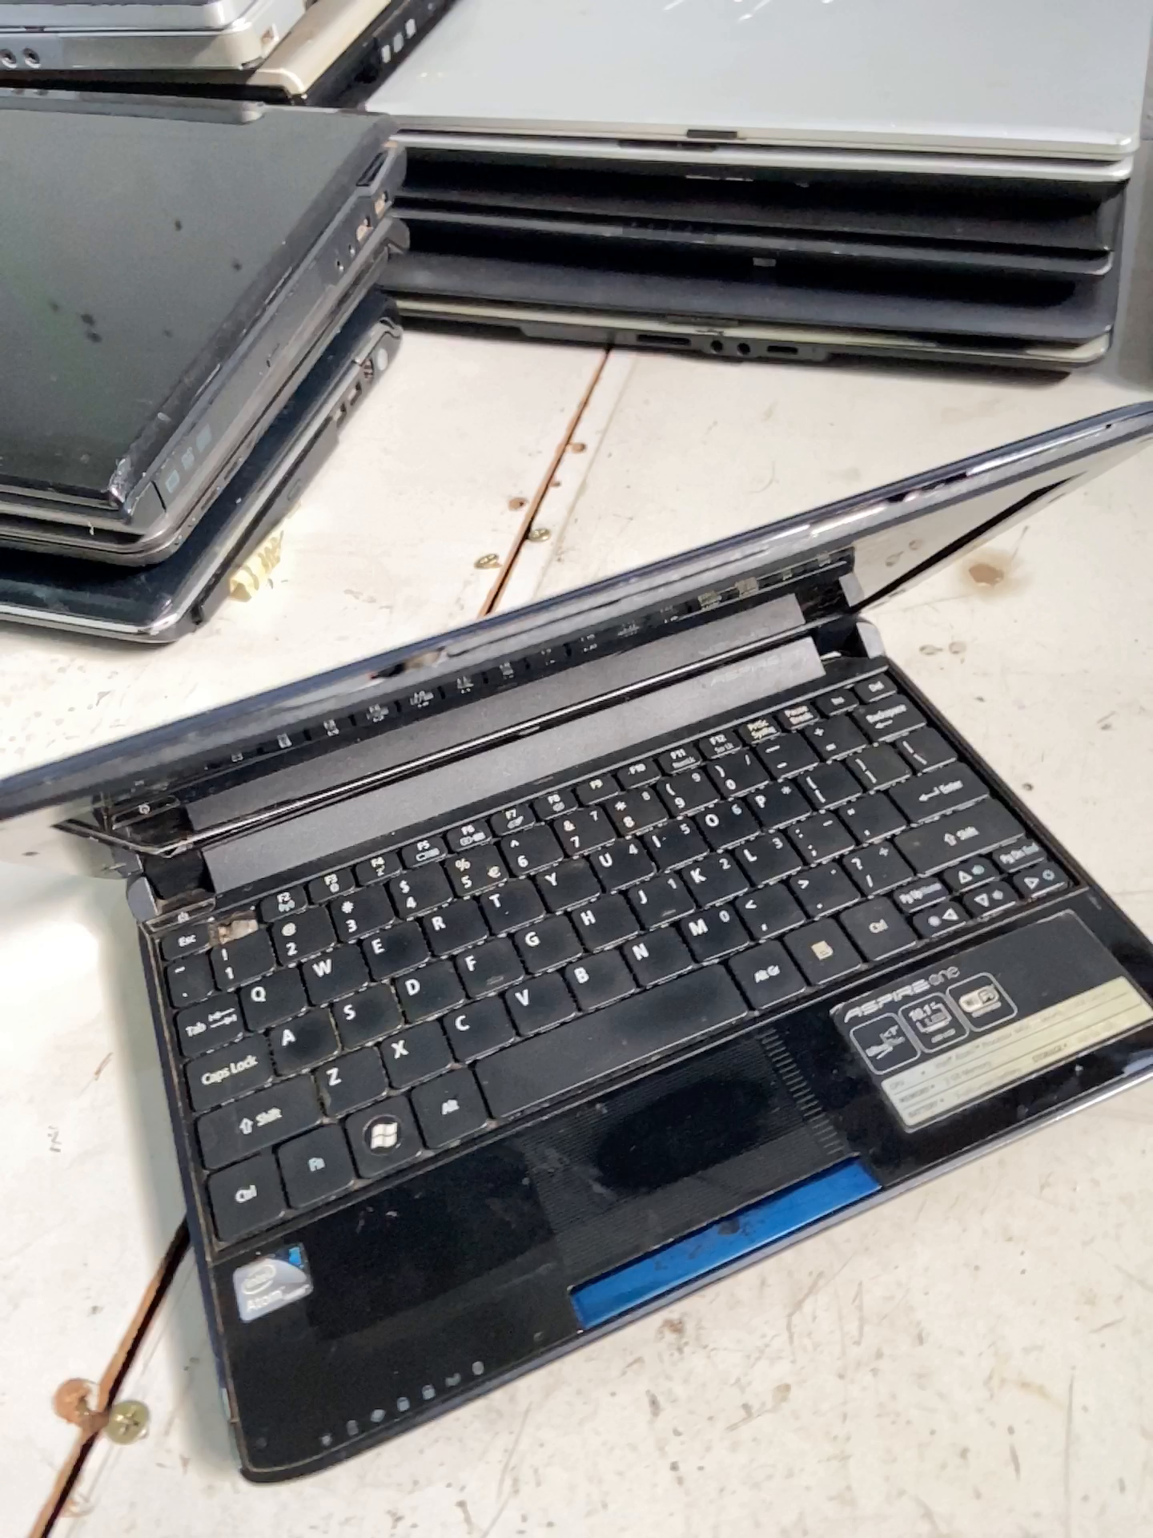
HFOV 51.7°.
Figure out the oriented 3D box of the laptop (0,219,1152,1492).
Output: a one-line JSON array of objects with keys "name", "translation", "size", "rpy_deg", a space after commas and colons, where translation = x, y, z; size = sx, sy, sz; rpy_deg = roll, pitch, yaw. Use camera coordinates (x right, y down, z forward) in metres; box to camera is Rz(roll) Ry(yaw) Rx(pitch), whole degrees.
[{"name": "laptop", "translation": [0.008, 0.002, 0.272], "size": [0.244, 0.131, 0.172], "rpy_deg": [-20, 49, -12]}]
